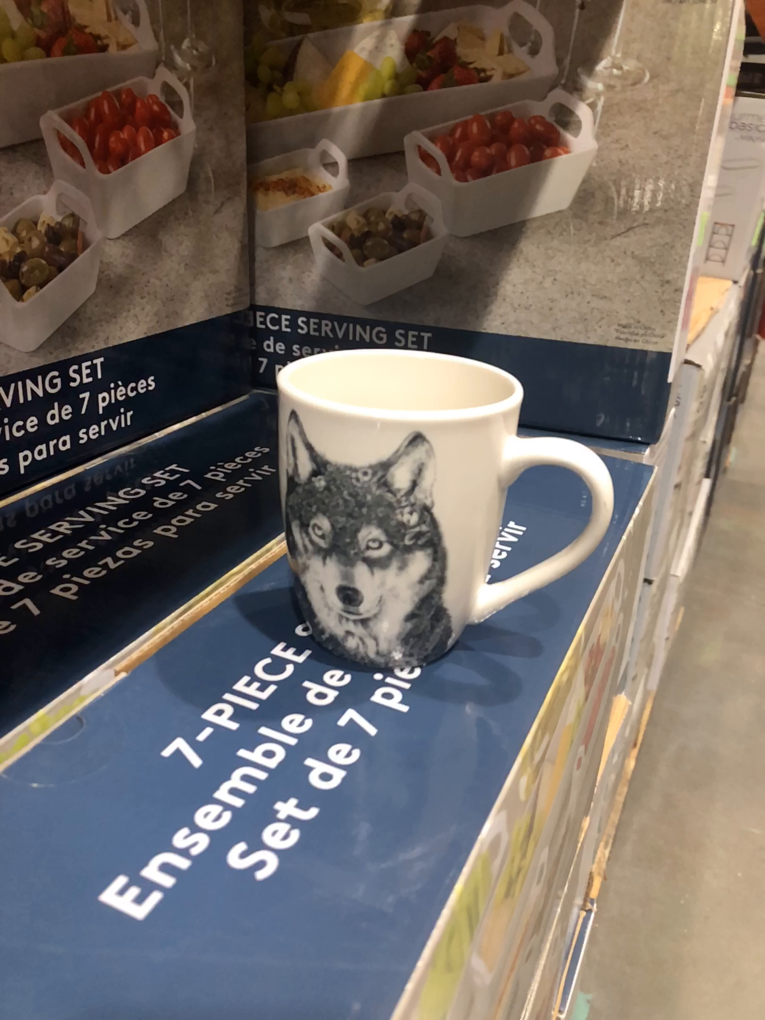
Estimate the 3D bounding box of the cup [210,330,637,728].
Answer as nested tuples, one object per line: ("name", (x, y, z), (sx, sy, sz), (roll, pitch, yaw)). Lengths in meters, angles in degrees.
("cup", (0.018, -0.003, 0.319), (0.128, 0.102, 0.094), (10, 24, 19))
